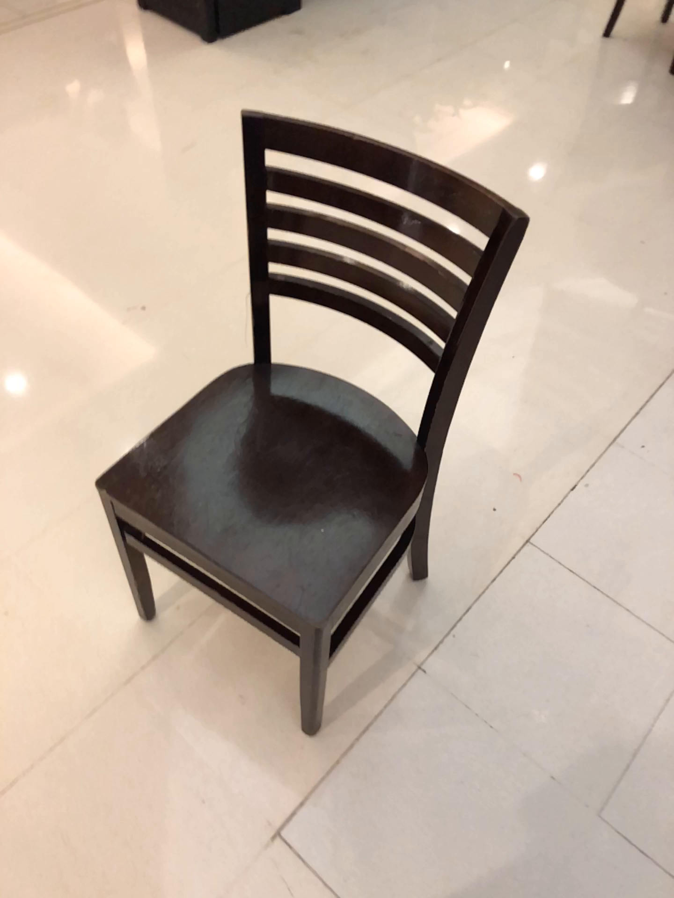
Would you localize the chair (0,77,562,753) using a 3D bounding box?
[{"bbox_3d":[-0.073,-0.009,1.199,0.461,0.845,0.542,29,55,20],"label":"chair"}]
